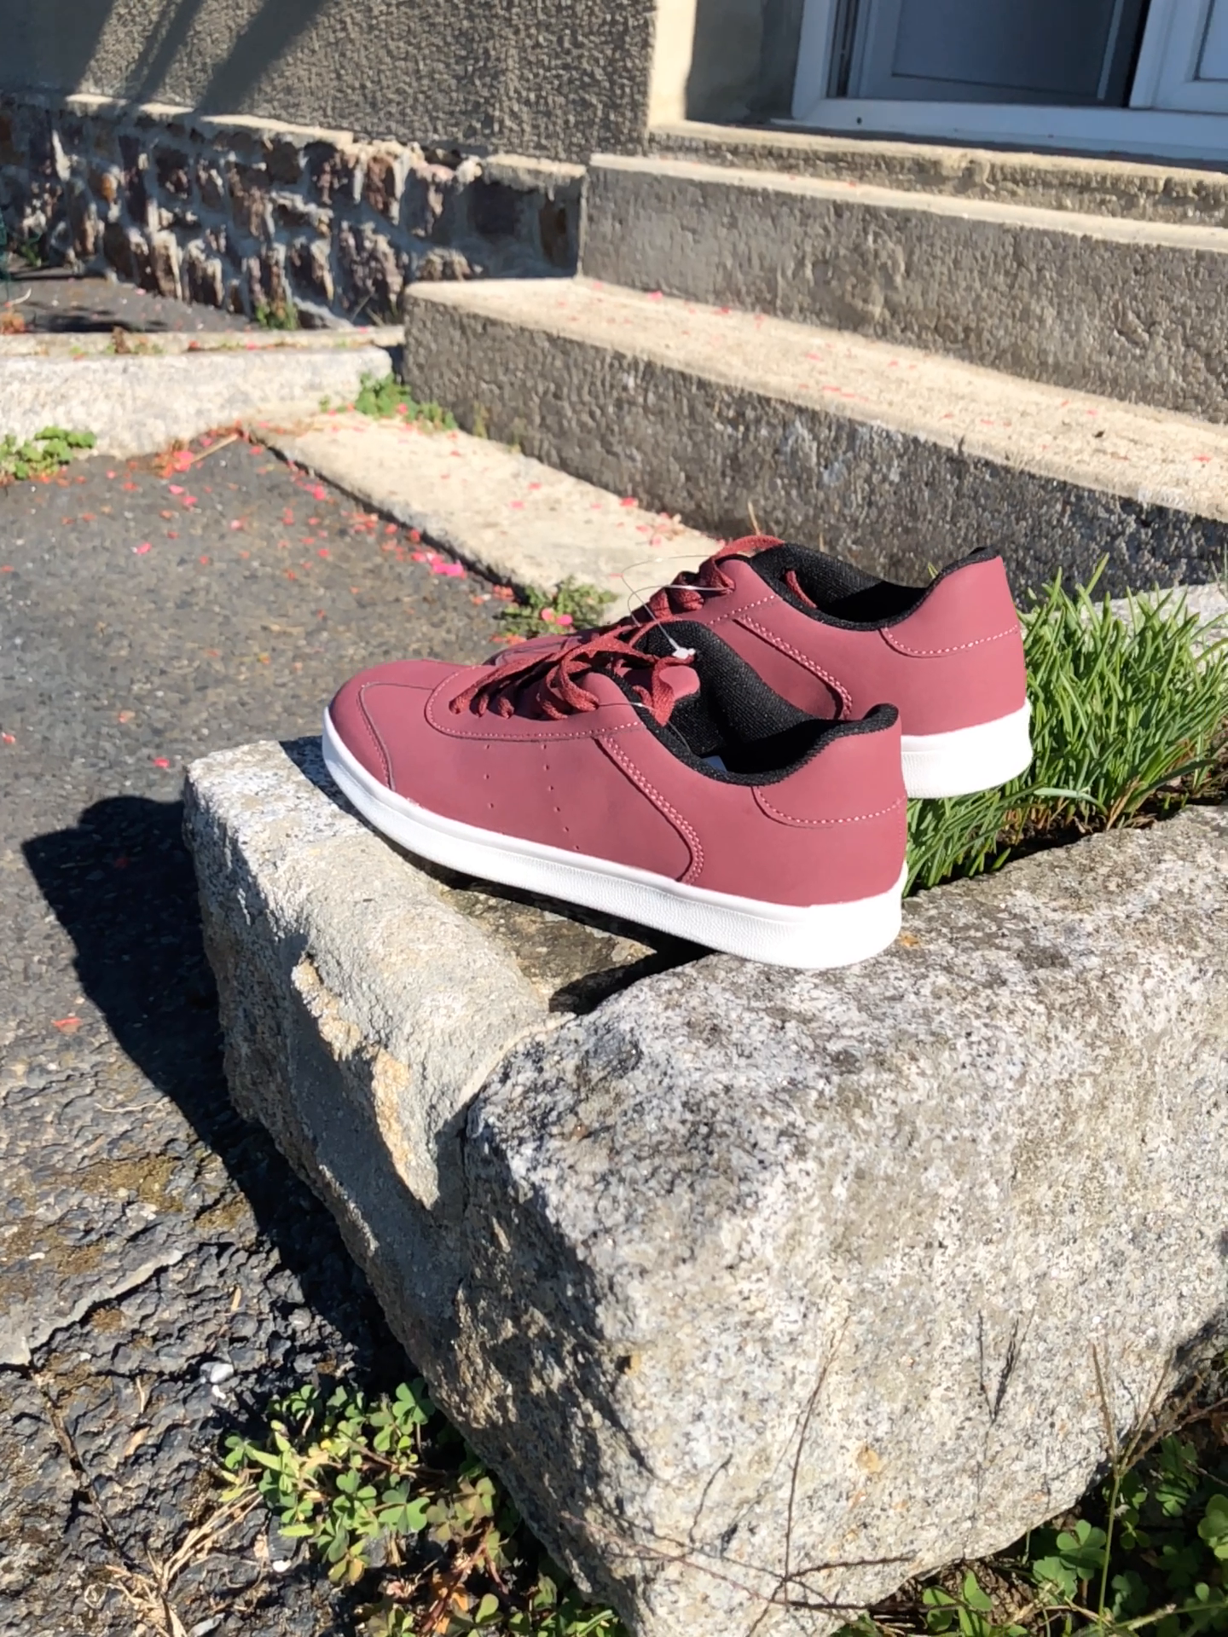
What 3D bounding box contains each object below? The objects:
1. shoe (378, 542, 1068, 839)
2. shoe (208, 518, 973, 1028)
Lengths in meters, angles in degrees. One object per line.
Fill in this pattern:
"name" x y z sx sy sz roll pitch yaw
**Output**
"shoe" 0.040 -0.063 0.556 0.259 0.080 0.101 8 25 32
"shoe" -0.020 -0.033 0.486 0.260 0.080 0.101 23 32 31
